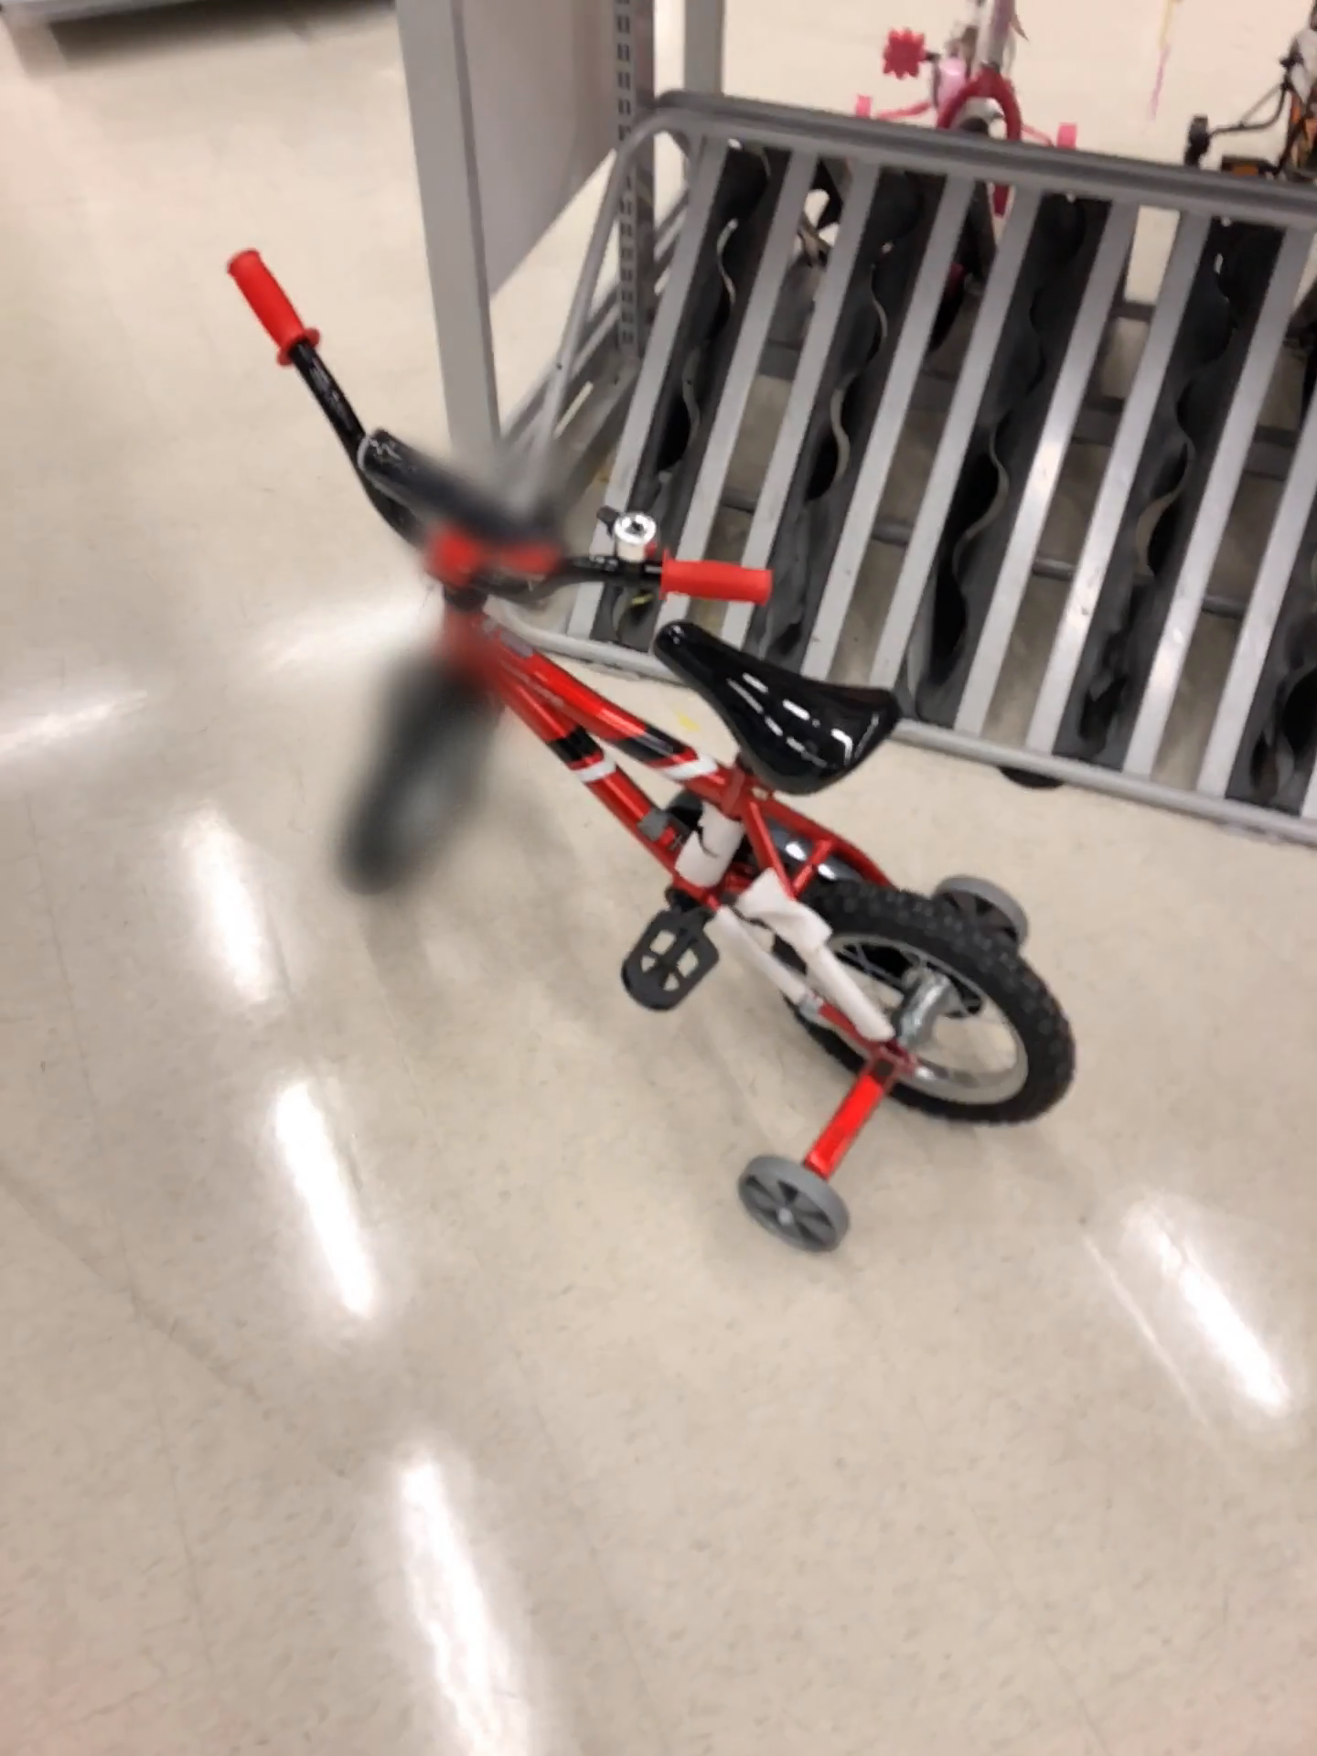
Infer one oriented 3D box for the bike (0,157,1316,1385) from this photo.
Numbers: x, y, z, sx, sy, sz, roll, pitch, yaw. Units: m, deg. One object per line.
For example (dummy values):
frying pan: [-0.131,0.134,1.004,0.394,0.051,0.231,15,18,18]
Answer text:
bike: [0.026,-0.077,1.178,0.699,0.678,0.533,18,52,14]
